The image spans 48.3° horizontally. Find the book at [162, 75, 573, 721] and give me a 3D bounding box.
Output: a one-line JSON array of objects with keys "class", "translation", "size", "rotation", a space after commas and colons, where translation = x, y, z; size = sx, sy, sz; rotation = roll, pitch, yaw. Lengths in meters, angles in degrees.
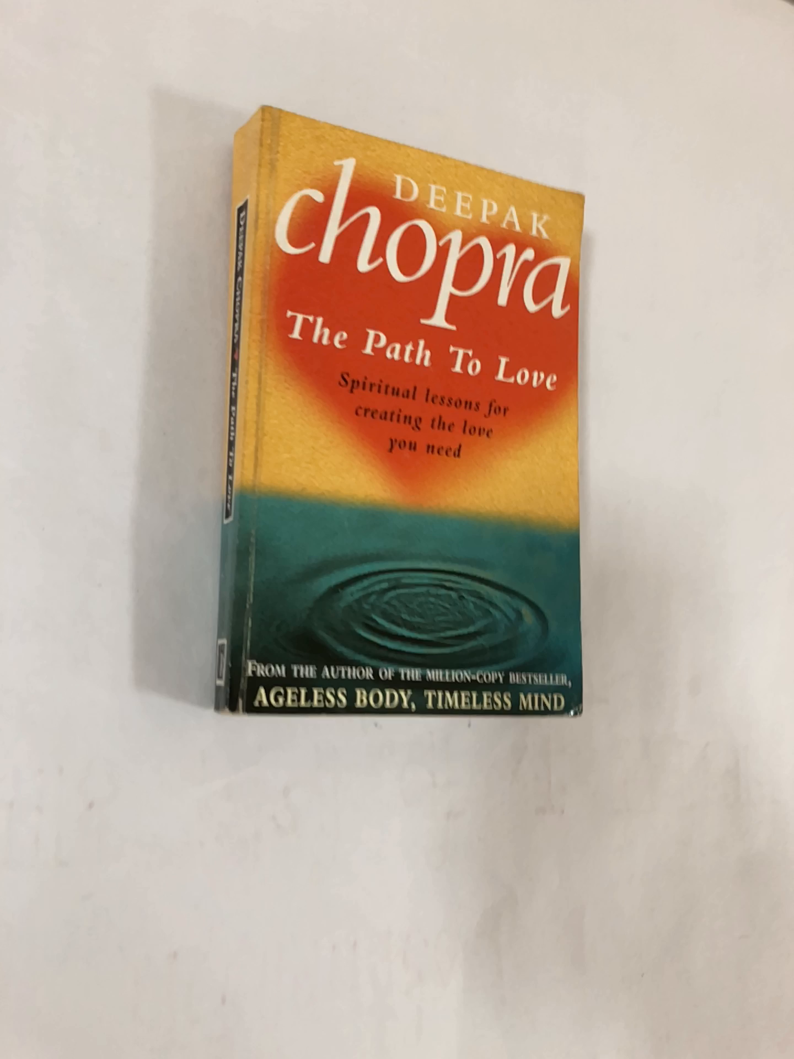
[{"class": "book", "translation": [-0.006, -0.036, 0.309], "size": [0.130, 0.040, 0.200], "rotation": [6, 78, -26]}]
